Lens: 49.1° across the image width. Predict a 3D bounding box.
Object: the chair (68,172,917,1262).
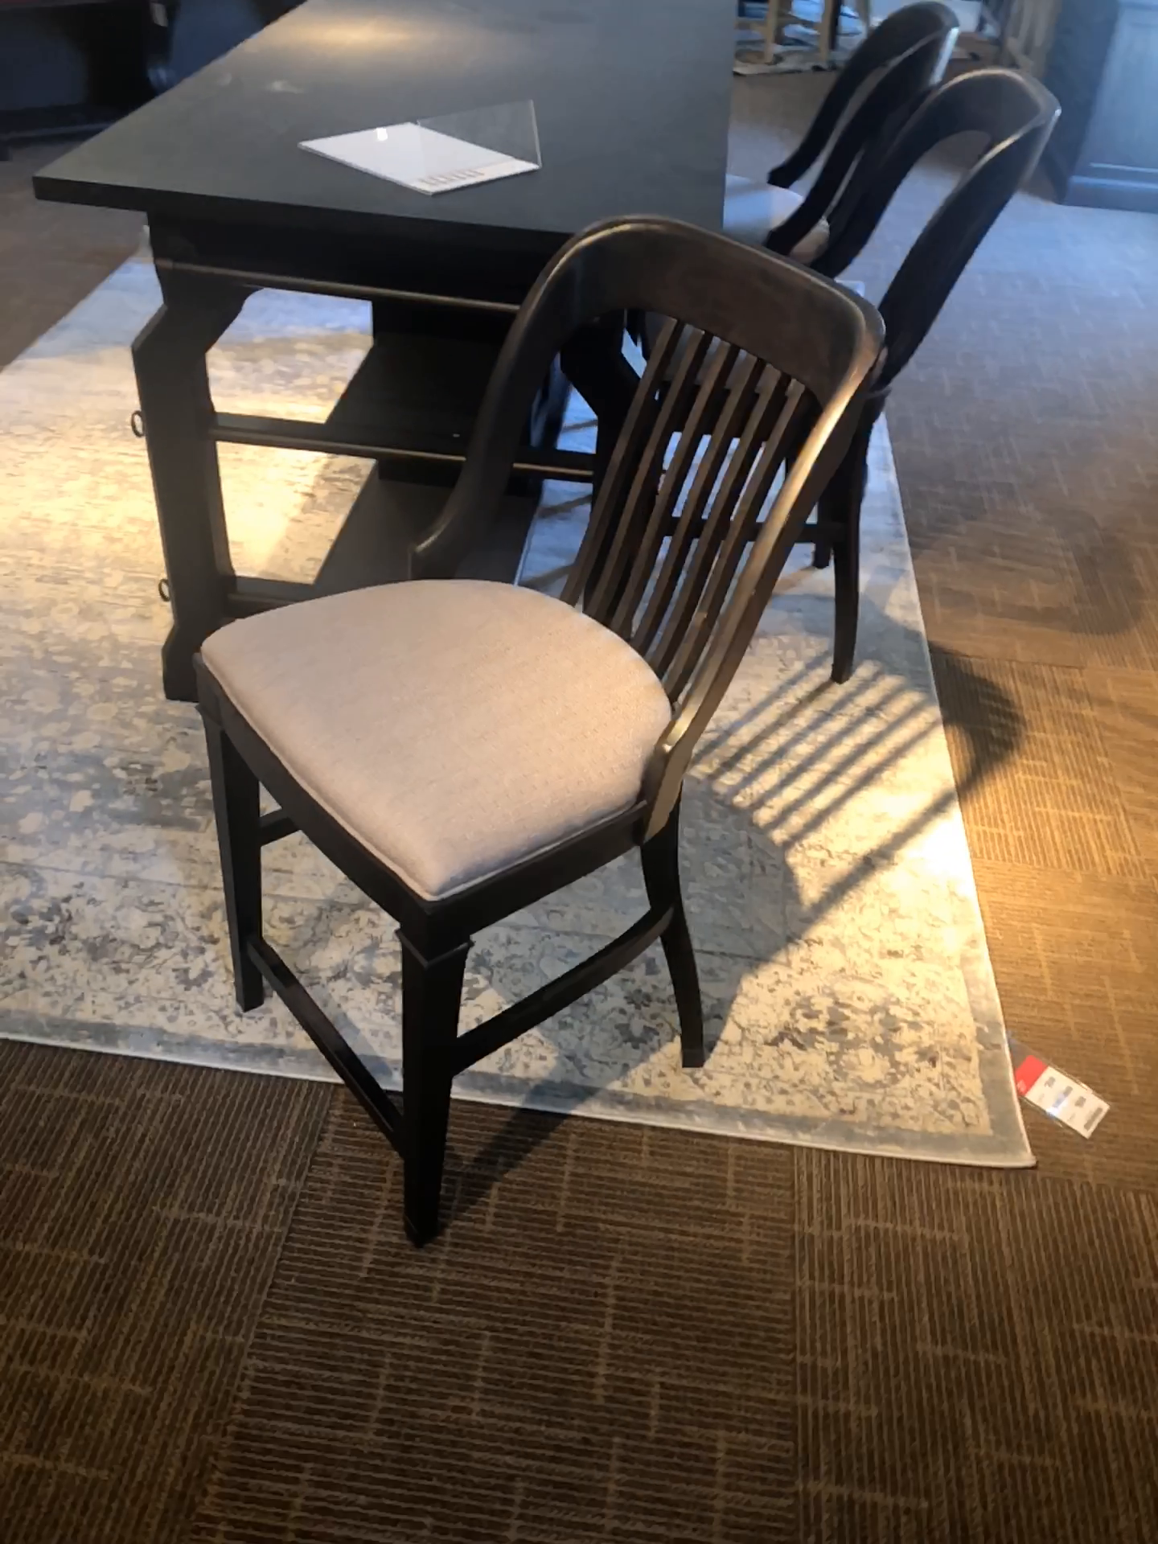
[{"bbox_3d":[-0.101,-0.051,1.426,0.572,0.985,0.481,-26,48,-31],"label":"chair"}]
